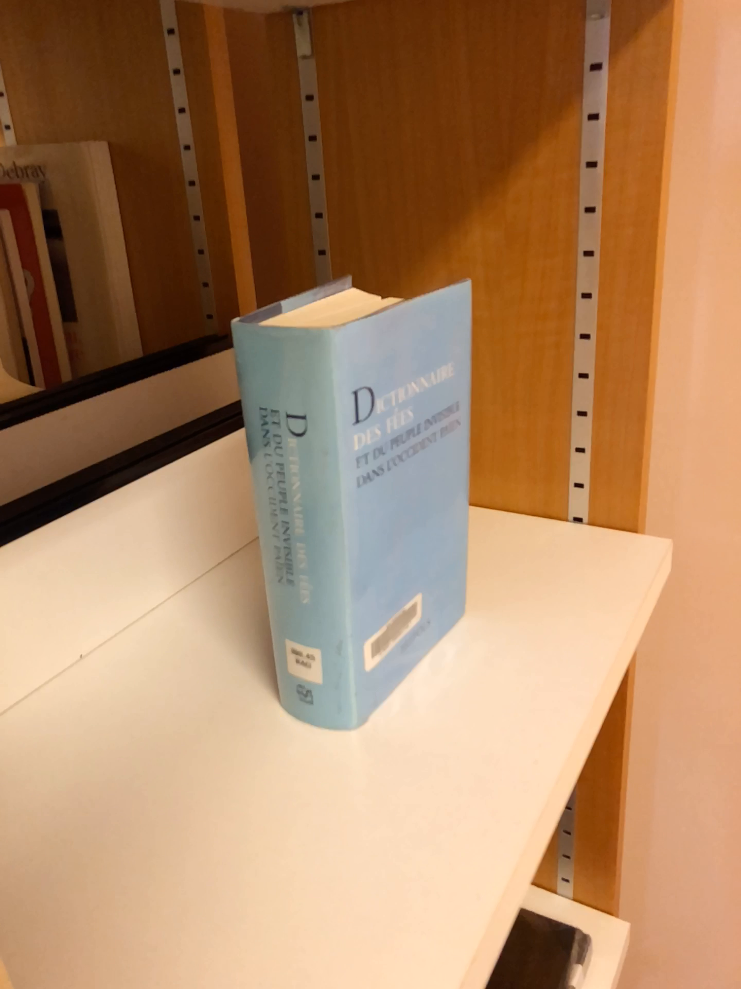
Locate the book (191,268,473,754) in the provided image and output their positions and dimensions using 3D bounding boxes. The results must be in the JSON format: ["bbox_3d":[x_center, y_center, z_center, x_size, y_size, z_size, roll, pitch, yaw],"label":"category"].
[{"bbox_3d":[-0.008,0.000,0.382,0.060,0.186,0.126,12,27,29],"label":"book"}]
